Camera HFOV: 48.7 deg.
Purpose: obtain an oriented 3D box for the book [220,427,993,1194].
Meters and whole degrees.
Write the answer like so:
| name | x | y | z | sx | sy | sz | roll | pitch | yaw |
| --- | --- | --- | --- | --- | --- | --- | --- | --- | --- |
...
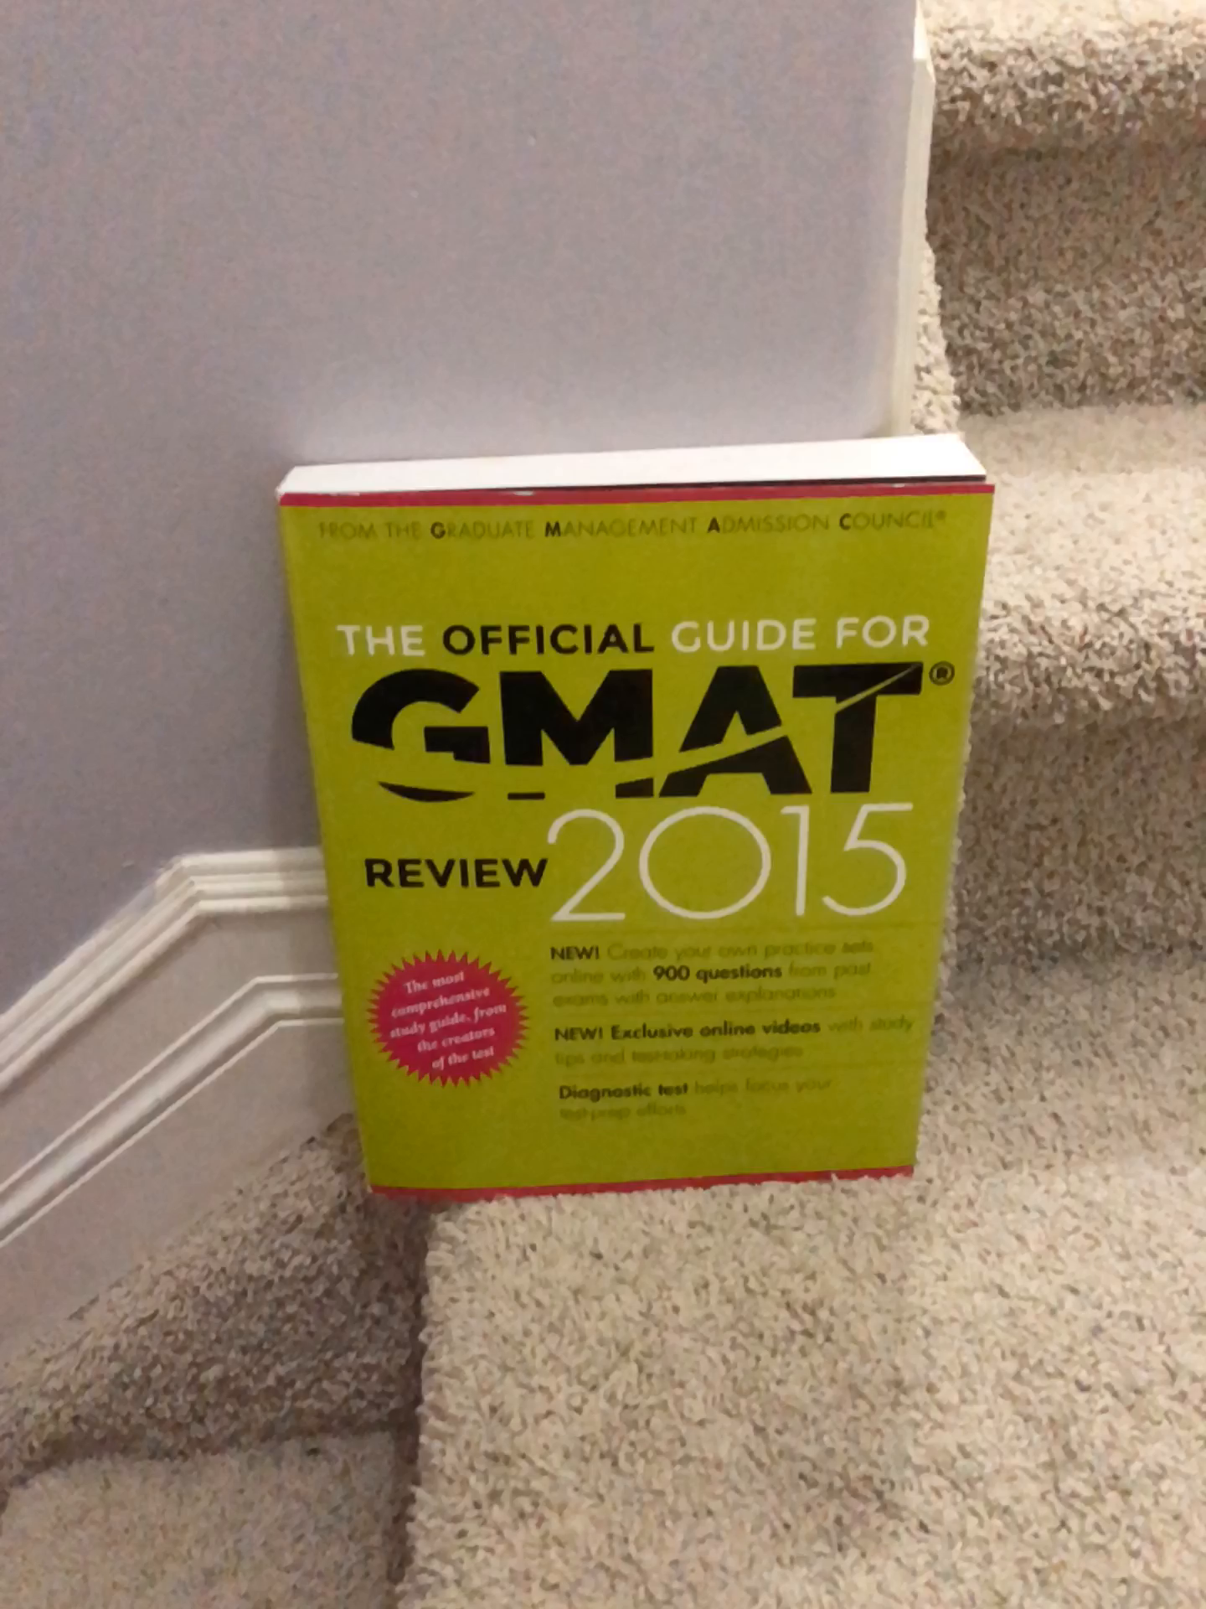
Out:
| name | x | y | z | sx | sy | sz | roll | pitch | yaw |
| --- | --- | --- | --- | --- | --- | --- | --- | --- | --- |
| book | 0.007 | 0.014 | 0.484 | 0.235 | 0.277 | 0.040 | -3 | 26 | 0 |
